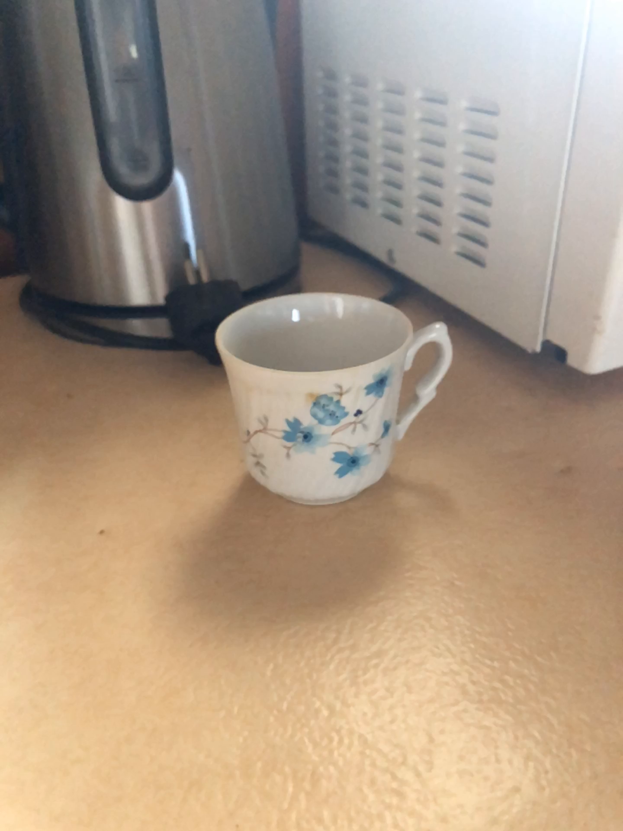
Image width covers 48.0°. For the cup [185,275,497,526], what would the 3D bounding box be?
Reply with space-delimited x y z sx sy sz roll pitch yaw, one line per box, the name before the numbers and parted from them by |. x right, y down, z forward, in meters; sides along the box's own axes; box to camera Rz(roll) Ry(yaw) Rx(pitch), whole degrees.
cup | 0.006 -0.010 0.247 0.090 0.050 0.070 -8 31 -10
